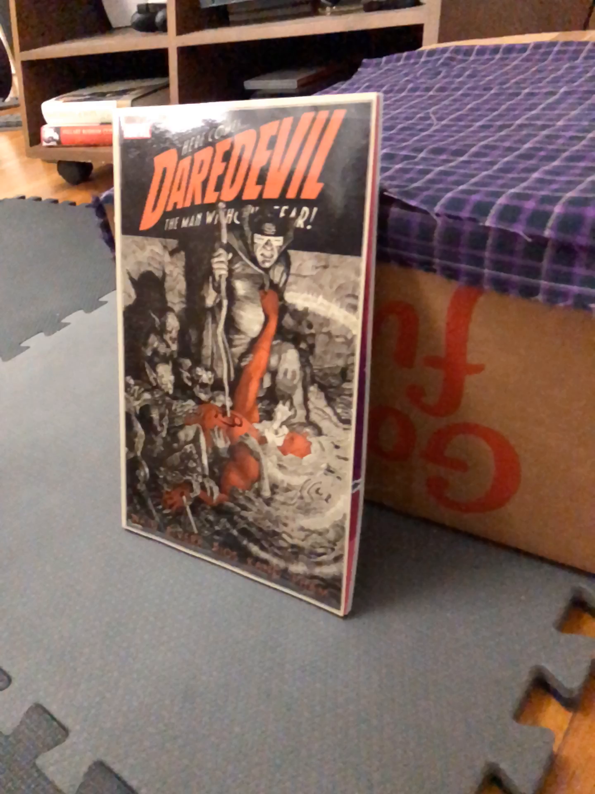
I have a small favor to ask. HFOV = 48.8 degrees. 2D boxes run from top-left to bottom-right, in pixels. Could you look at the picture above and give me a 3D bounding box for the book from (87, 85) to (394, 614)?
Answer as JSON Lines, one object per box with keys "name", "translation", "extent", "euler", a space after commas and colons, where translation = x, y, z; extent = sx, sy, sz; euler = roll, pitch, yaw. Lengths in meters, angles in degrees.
{"name": "book", "translation": [-0.038, -0.025, 0.328], "extent": [0.160, 0.229, 0.020], "euler": [12, 18, 31]}
